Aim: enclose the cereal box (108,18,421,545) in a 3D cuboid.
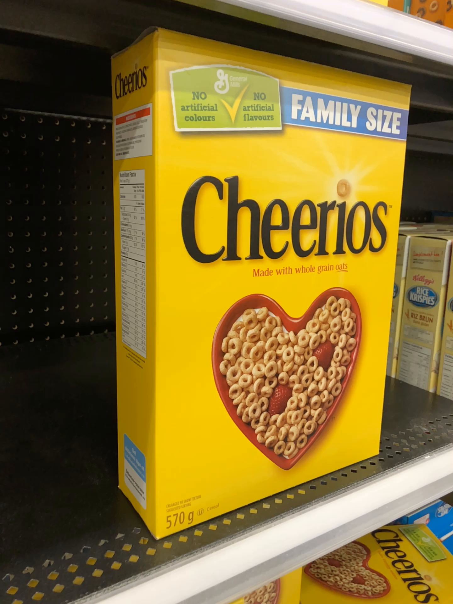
[{"bbox_3d":[0.033,-0.015,0.422,0.240,0.339,0.090,-5,13,-35],"label":"cereal box"}]
